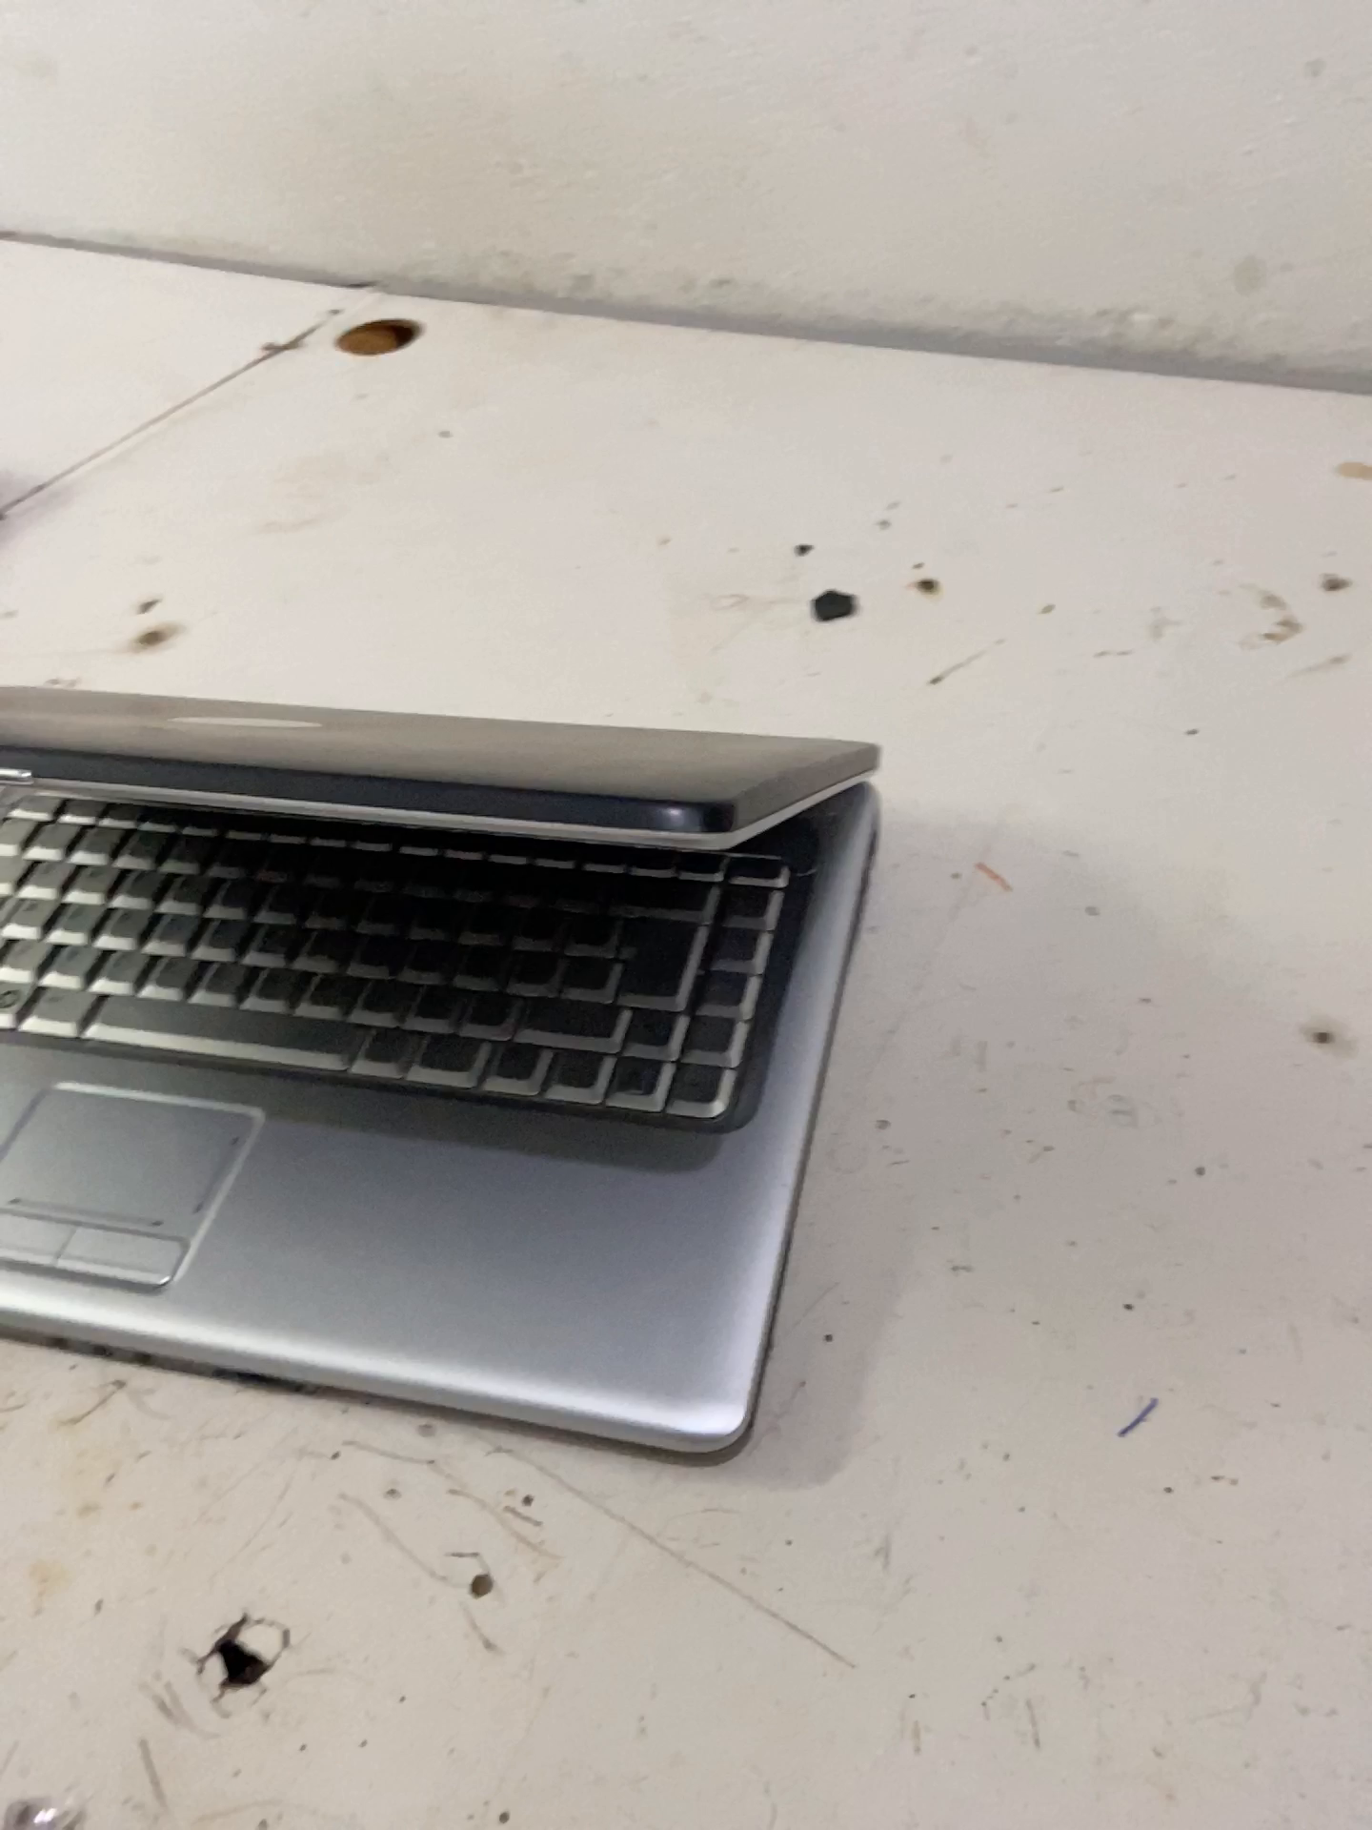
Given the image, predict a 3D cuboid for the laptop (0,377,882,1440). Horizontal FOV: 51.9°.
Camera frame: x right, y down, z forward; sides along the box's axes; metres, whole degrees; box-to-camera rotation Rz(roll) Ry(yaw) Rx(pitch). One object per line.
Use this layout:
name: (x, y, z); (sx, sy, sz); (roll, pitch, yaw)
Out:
laptop: (-0.134, -0.028, 0.407); (0.347, 0.145, 0.239); (5, 47, 13)
